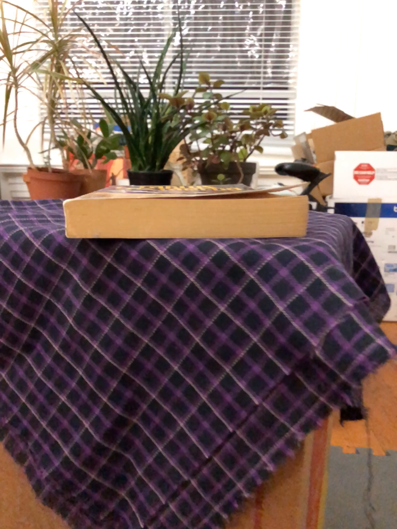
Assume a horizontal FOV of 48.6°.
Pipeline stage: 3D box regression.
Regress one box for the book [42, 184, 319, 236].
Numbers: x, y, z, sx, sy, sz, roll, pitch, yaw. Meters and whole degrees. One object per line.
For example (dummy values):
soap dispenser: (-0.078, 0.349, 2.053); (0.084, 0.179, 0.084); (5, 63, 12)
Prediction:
book: (-0.016, -0.050, 0.348); (0.150, 0.020, 0.221); (-1, 13, -4)
